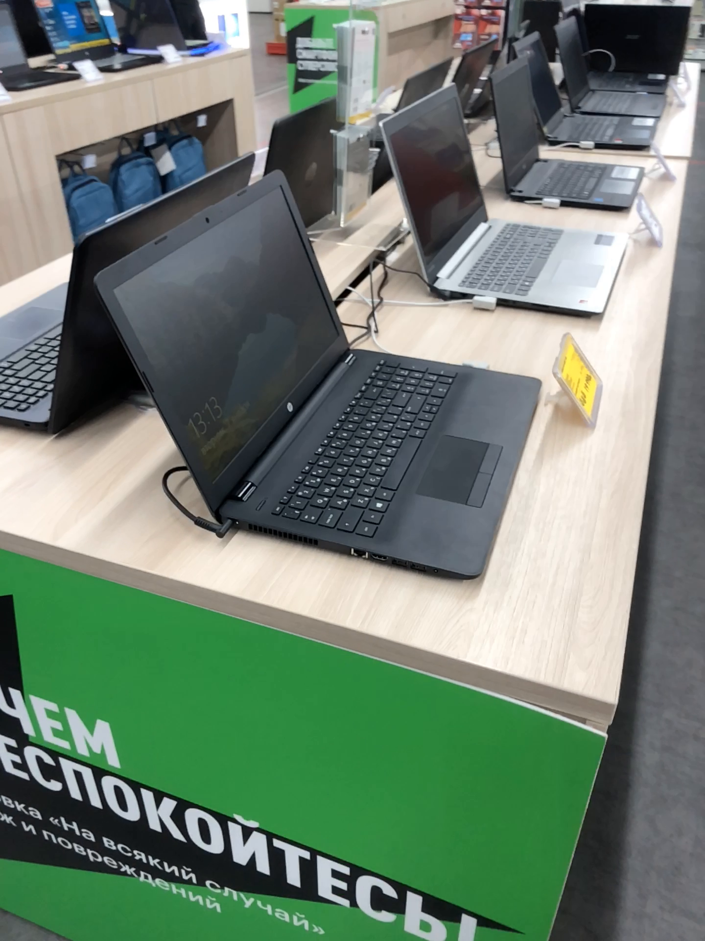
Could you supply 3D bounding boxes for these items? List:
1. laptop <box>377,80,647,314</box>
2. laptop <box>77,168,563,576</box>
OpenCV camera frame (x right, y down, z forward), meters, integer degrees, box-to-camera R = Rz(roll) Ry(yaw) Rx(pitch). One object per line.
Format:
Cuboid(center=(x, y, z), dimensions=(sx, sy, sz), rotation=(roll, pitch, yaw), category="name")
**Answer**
Cuboid(center=(0.263, -0.463, 1.254), dimensions=(0.339, 0.226, 0.372), rotation=(14, 37, 18), category="laptop")
Cuboid(center=(0.003, -0.135, 0.786), dimensions=(0.341, 0.217, 0.378), rotation=(12, 36, 16), category="laptop")
